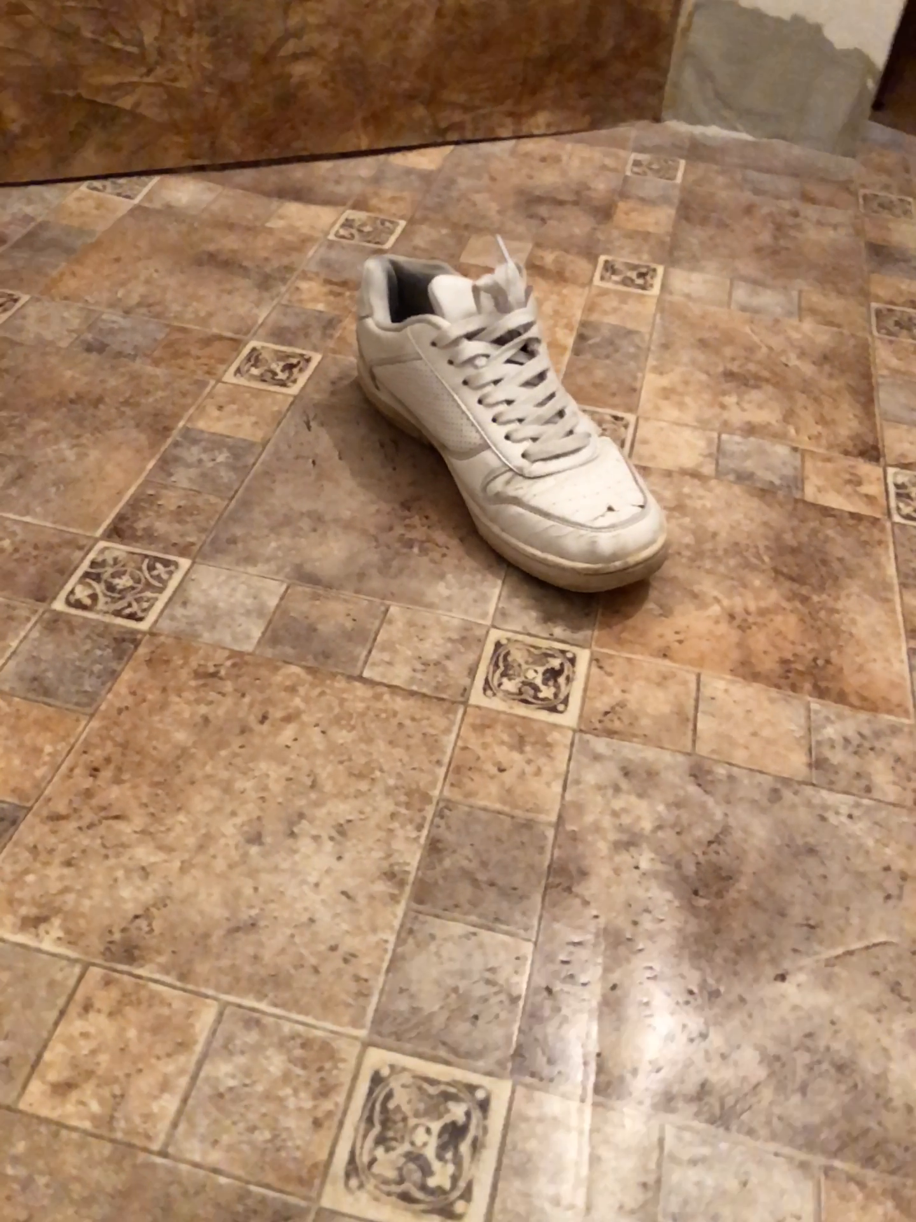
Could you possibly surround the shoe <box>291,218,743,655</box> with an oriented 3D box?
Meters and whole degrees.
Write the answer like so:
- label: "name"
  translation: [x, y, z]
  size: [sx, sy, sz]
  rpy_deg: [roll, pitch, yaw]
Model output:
- label: "shoe"
  translation: [0.018, -0.122, 0.620]
  size: [0.122, 0.109, 0.281]
  rpy_deg: [-22, 51, -26]
